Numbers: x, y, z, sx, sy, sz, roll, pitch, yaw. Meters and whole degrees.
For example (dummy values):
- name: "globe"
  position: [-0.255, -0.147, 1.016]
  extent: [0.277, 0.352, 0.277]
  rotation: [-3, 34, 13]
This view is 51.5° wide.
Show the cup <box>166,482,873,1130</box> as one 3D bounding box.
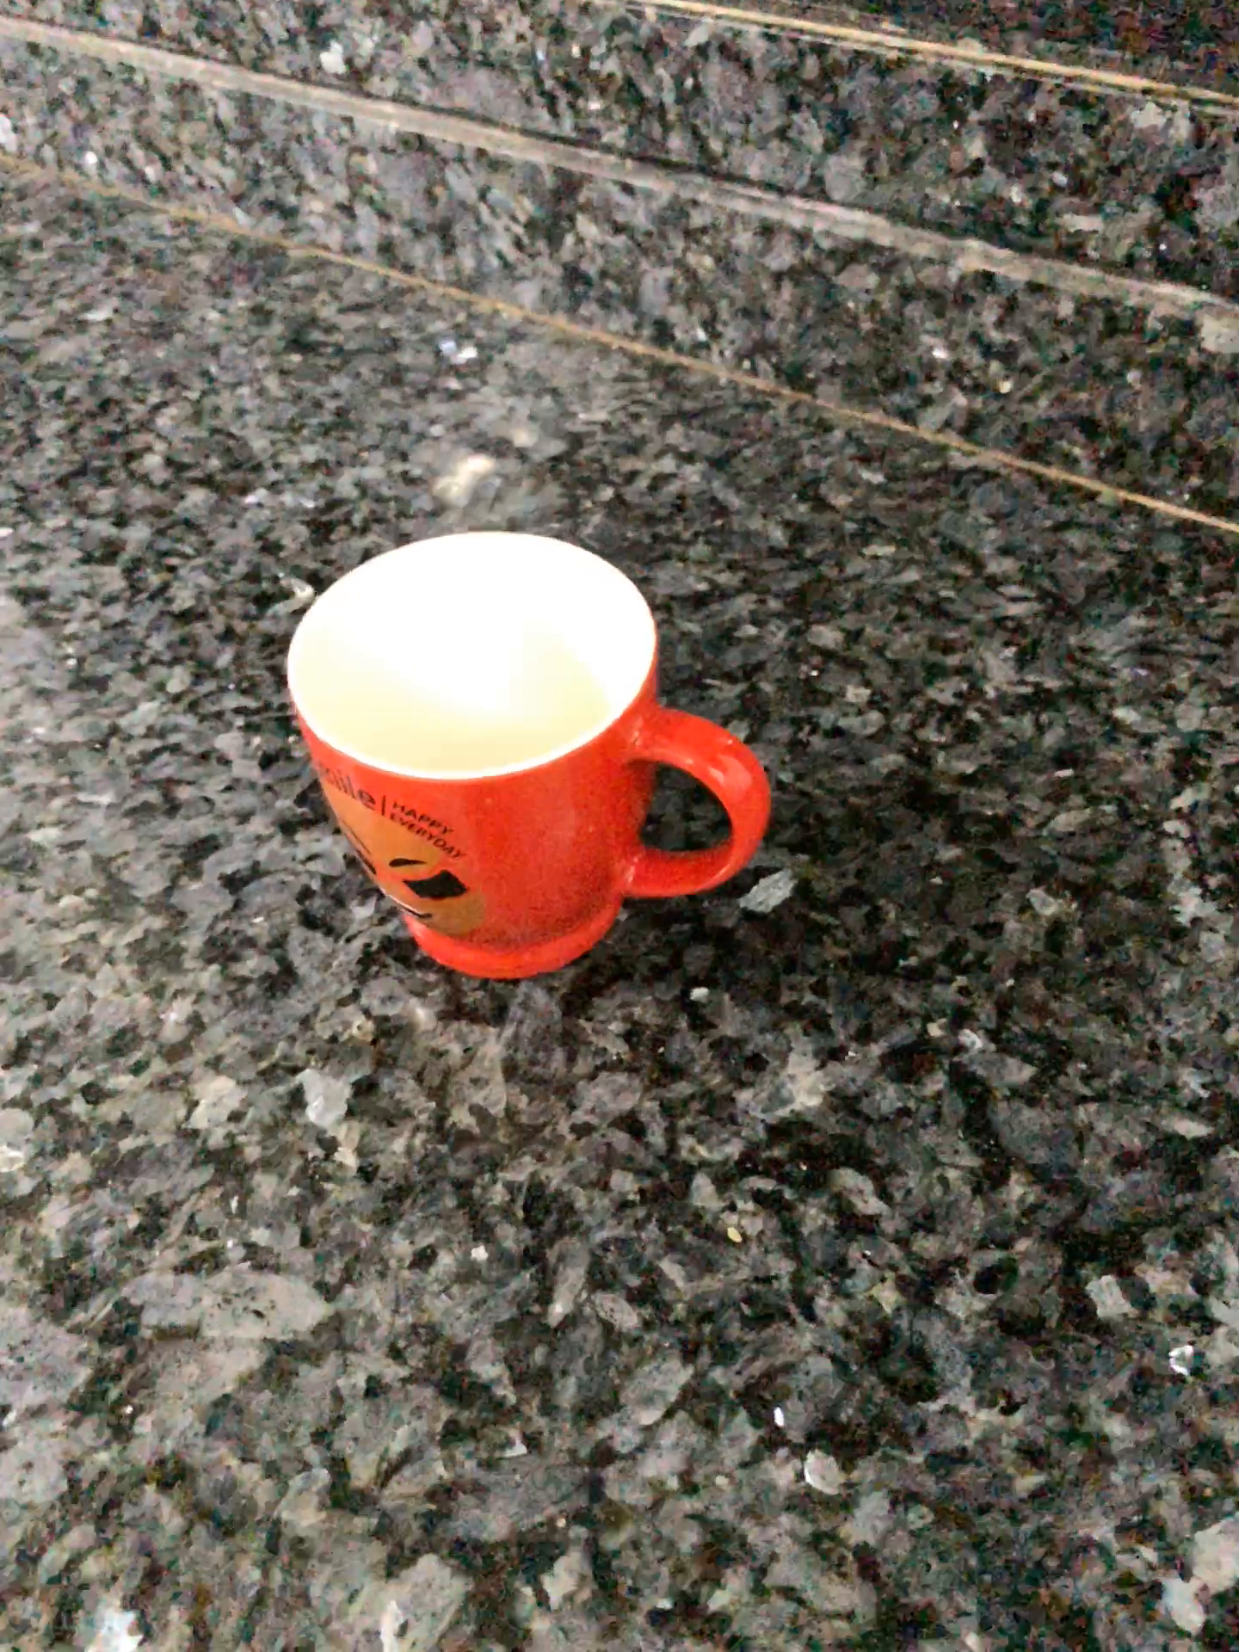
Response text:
- name: "cup"
  position: [-0.017, -0.008, 0.263]
  extent: [0.110, 0.069, 0.070]
  rotation: [23, 54, 21]
